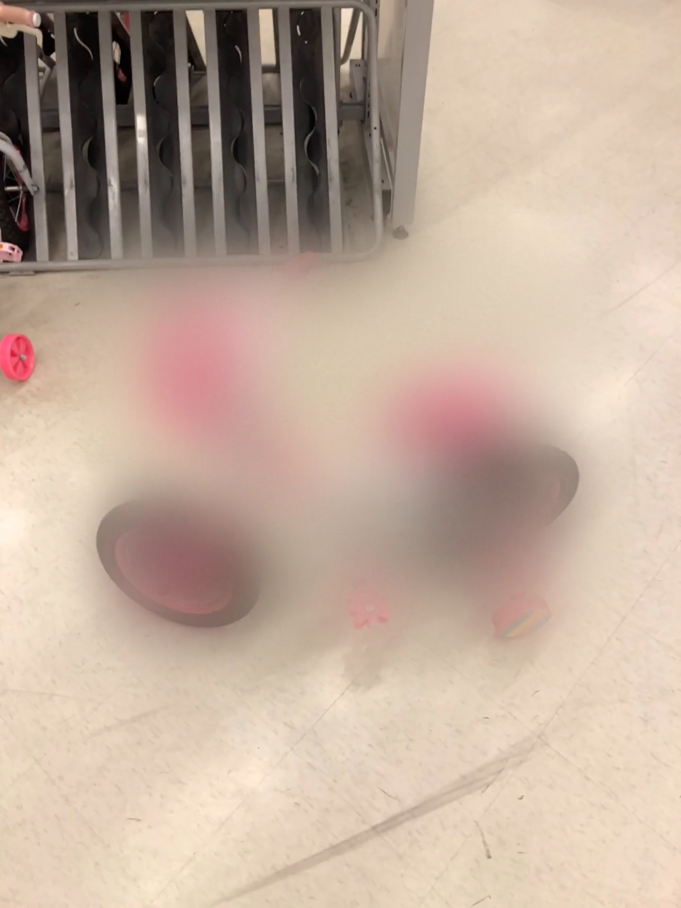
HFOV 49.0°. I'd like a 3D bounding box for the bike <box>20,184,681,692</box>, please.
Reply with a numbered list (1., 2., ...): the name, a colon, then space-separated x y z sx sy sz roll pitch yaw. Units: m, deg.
1. bike: 0.012 0.004 1.266 0.878 0.632 0.459 -8 53 -4
